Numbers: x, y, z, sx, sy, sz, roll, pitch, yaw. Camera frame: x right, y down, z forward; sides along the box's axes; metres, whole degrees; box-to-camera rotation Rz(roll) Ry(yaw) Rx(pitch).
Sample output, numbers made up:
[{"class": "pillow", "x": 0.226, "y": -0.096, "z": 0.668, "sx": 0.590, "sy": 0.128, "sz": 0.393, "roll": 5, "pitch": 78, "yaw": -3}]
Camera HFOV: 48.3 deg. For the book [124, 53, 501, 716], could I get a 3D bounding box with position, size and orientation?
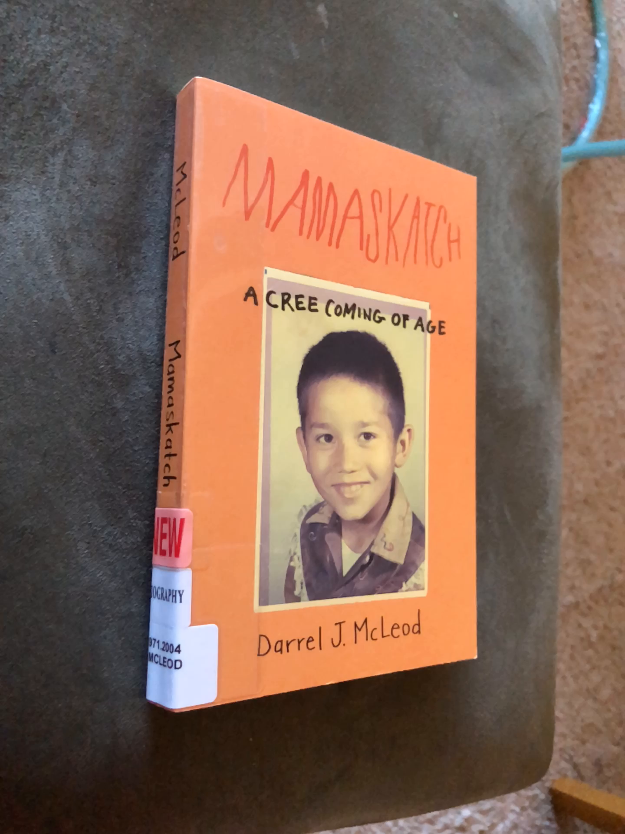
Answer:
[{"class": "book", "x": 0.009, "y": -0.008, "z": 0.286, "sx": 0.151, "sy": 0.040, "sz": 0.218, "roll": 5, "pitch": 85, "yaw": -33}]
